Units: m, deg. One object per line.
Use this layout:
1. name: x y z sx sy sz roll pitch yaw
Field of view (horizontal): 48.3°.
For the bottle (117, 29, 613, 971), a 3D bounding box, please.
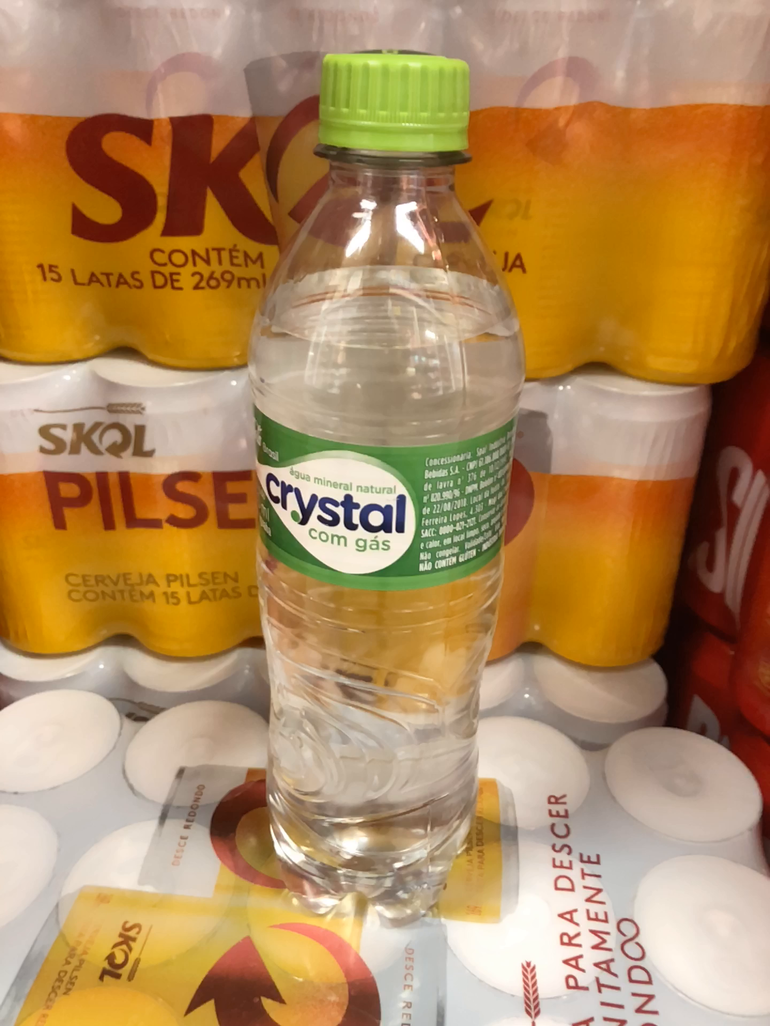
1. bottle: 0.001 0.008 0.211 0.070 0.218 0.060 12 34 20
